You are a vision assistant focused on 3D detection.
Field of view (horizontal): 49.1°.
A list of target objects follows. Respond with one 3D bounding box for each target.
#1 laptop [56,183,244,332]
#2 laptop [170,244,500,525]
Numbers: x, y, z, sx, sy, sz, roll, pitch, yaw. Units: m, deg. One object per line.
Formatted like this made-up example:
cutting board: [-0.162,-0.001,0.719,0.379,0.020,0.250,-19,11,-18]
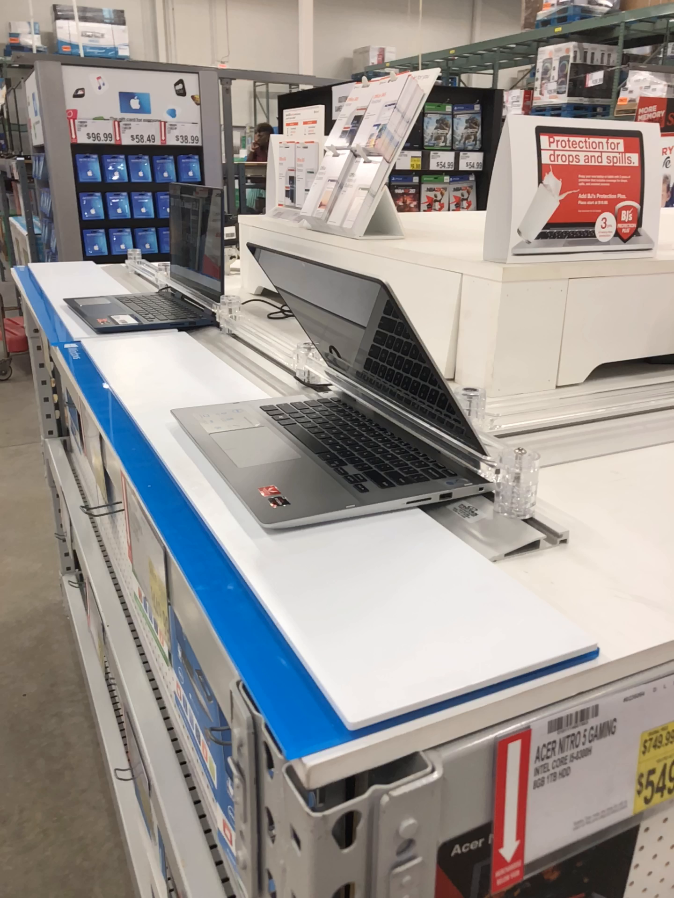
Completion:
laptop: [-0.404,-0.424,1.568,0.284,0.239,0.366,-12,24,-25]
laptop: [-0.023,-0.090,0.724,0.210,0.183,0.309,-8,22,-22]
